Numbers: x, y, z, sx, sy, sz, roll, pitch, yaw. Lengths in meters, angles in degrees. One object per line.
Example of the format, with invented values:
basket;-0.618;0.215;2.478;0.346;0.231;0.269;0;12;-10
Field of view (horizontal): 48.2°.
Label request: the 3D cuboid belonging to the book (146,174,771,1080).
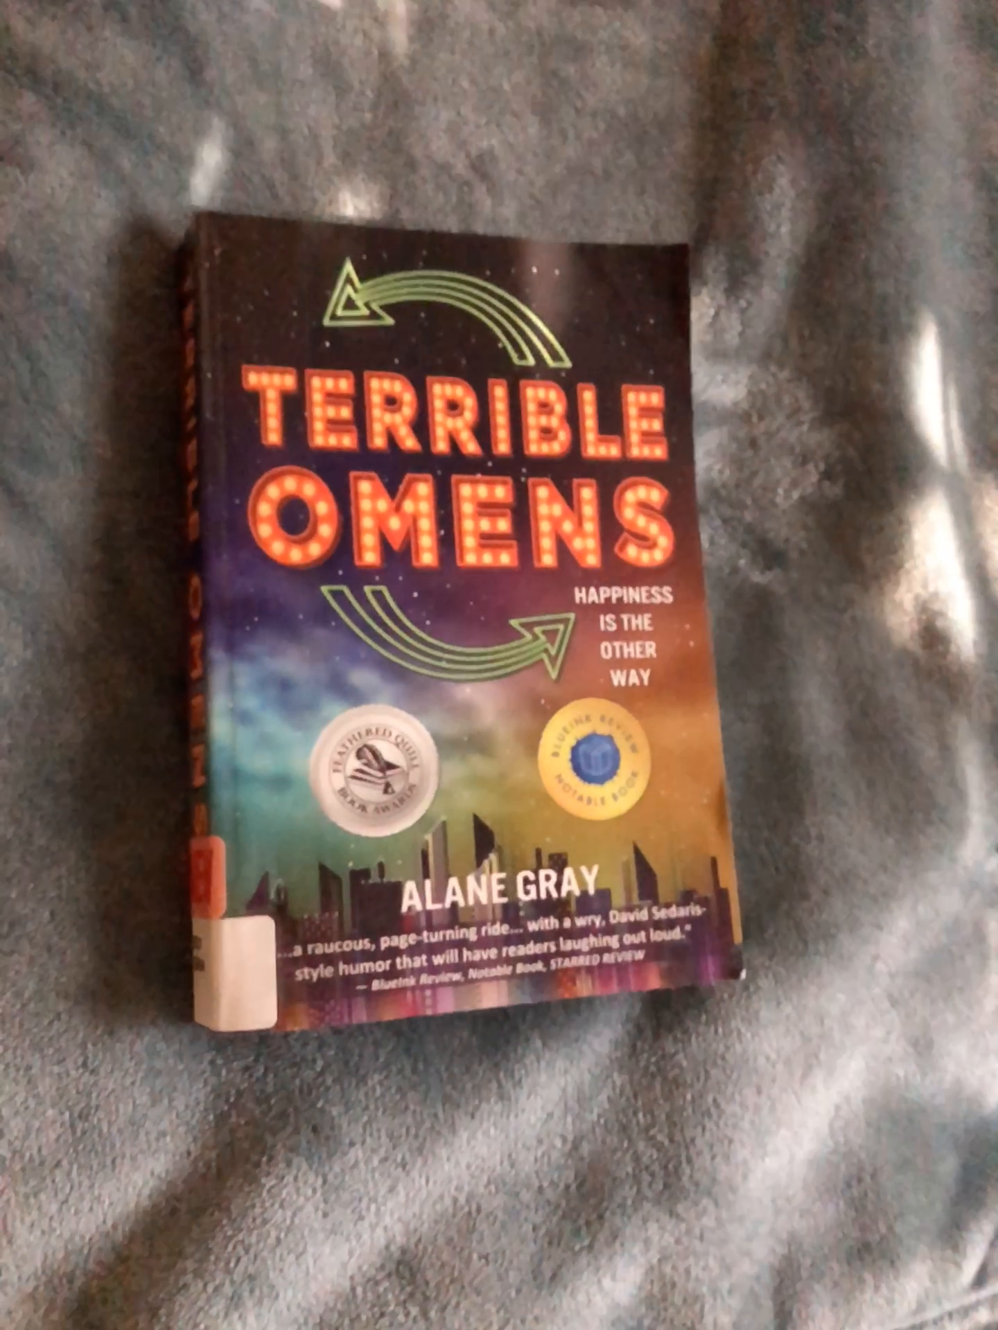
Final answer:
book;-0.012;-0.013;0.277;0.140;0.028;0.200;-1;81;-18
